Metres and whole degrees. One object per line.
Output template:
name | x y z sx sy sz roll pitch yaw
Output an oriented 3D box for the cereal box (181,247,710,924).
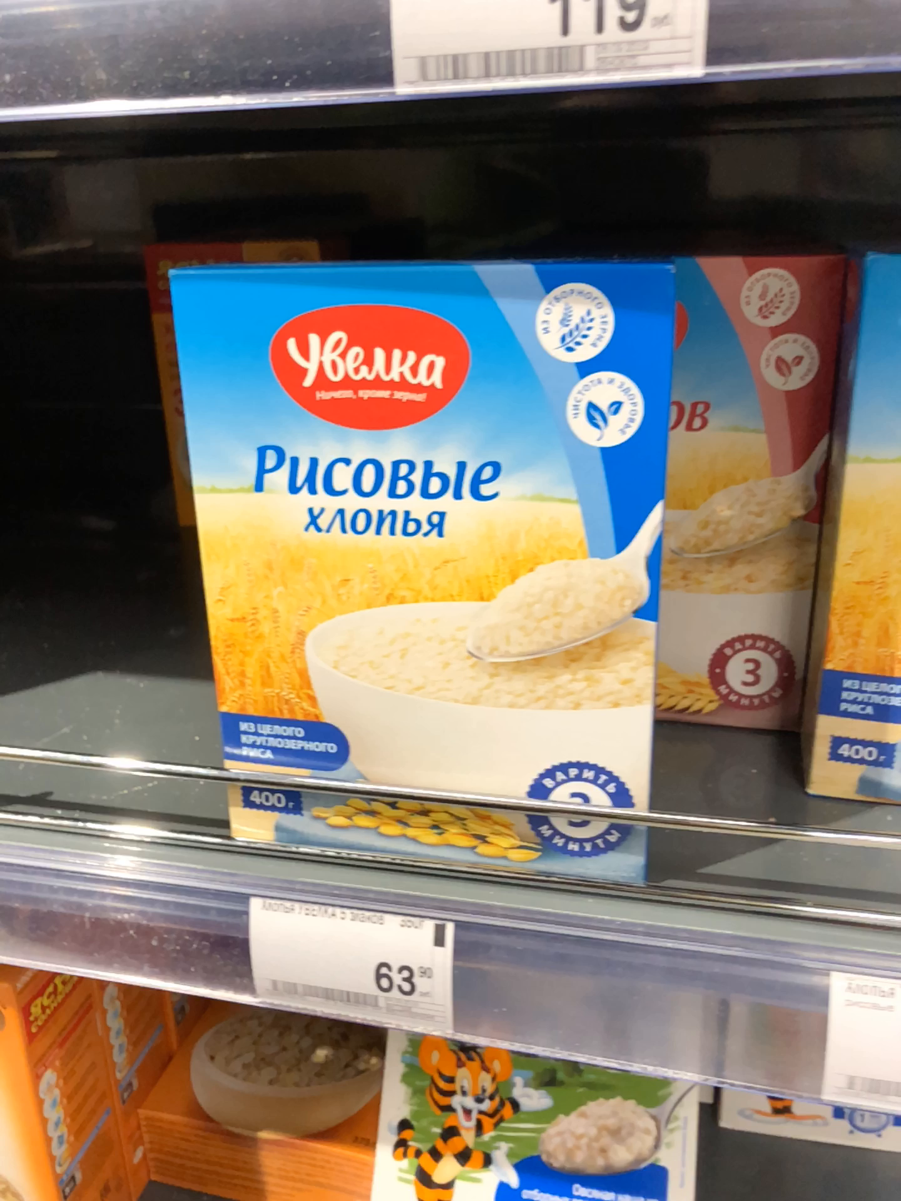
cereal box | 0.003 -0.006 0.321 0.140 0.199 0.060 3 20 11
